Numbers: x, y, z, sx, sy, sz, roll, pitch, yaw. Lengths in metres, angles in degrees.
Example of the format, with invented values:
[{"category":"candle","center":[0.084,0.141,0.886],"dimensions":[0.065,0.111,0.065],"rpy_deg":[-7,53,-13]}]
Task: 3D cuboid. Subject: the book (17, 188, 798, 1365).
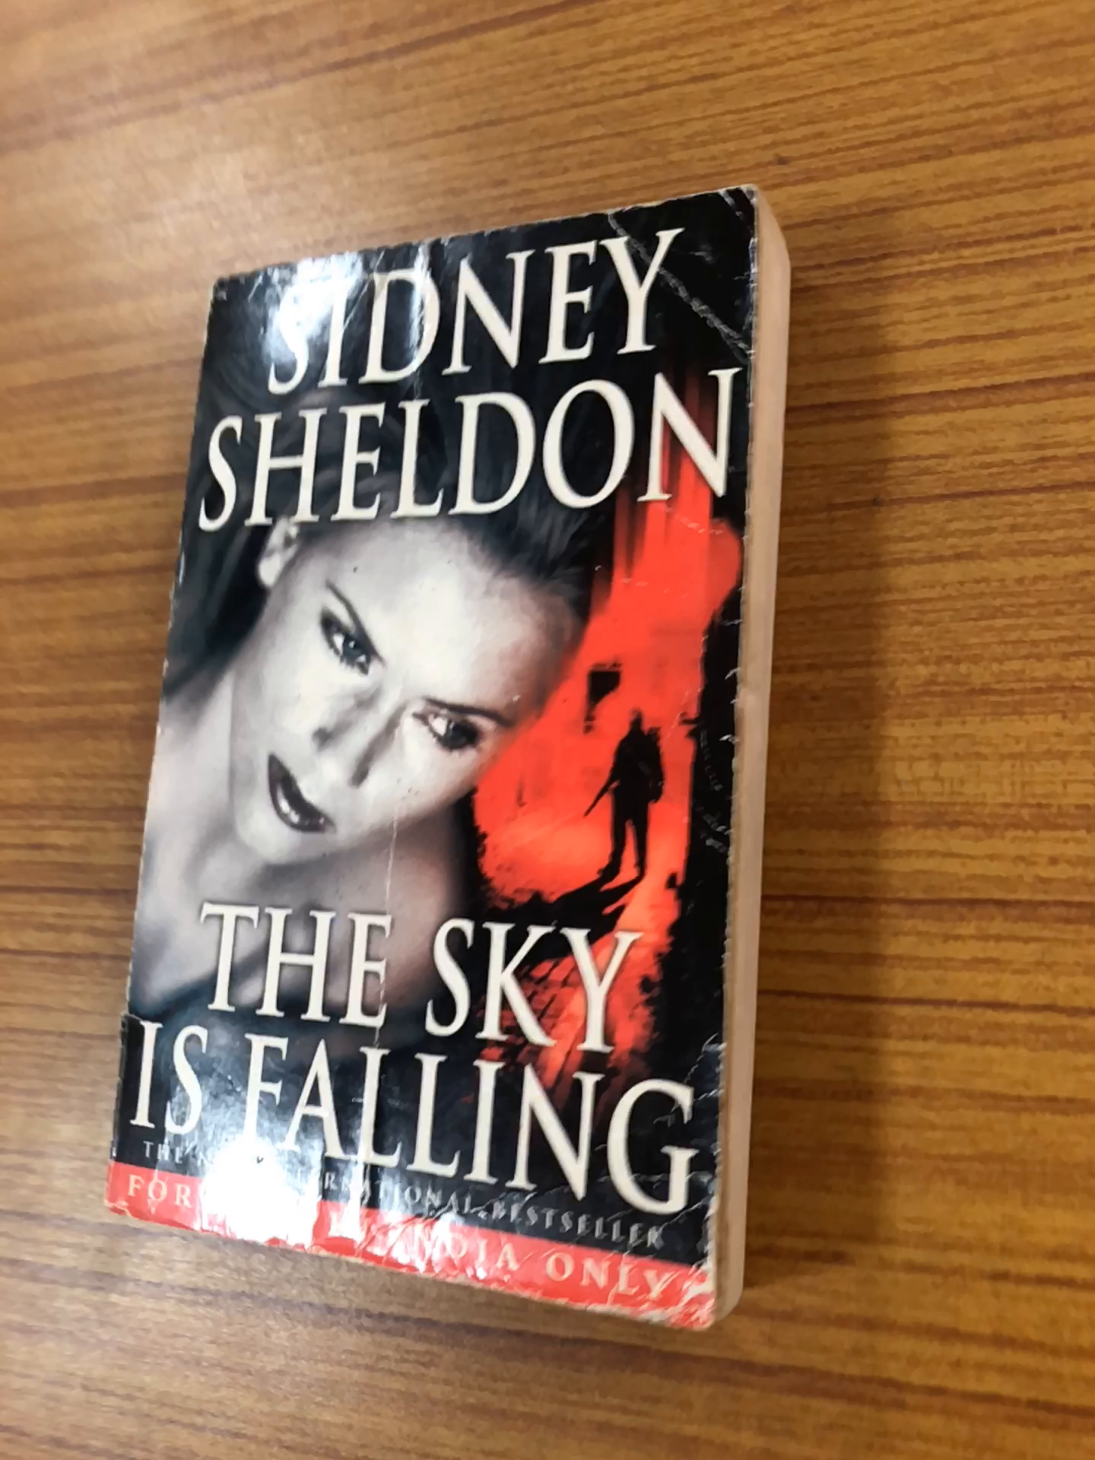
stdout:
[{"category":"book","center":[-0.023,0.003,0.213],"dimensions":[0.120,0.030,0.170],"rpy_deg":[1,81,21]}]
